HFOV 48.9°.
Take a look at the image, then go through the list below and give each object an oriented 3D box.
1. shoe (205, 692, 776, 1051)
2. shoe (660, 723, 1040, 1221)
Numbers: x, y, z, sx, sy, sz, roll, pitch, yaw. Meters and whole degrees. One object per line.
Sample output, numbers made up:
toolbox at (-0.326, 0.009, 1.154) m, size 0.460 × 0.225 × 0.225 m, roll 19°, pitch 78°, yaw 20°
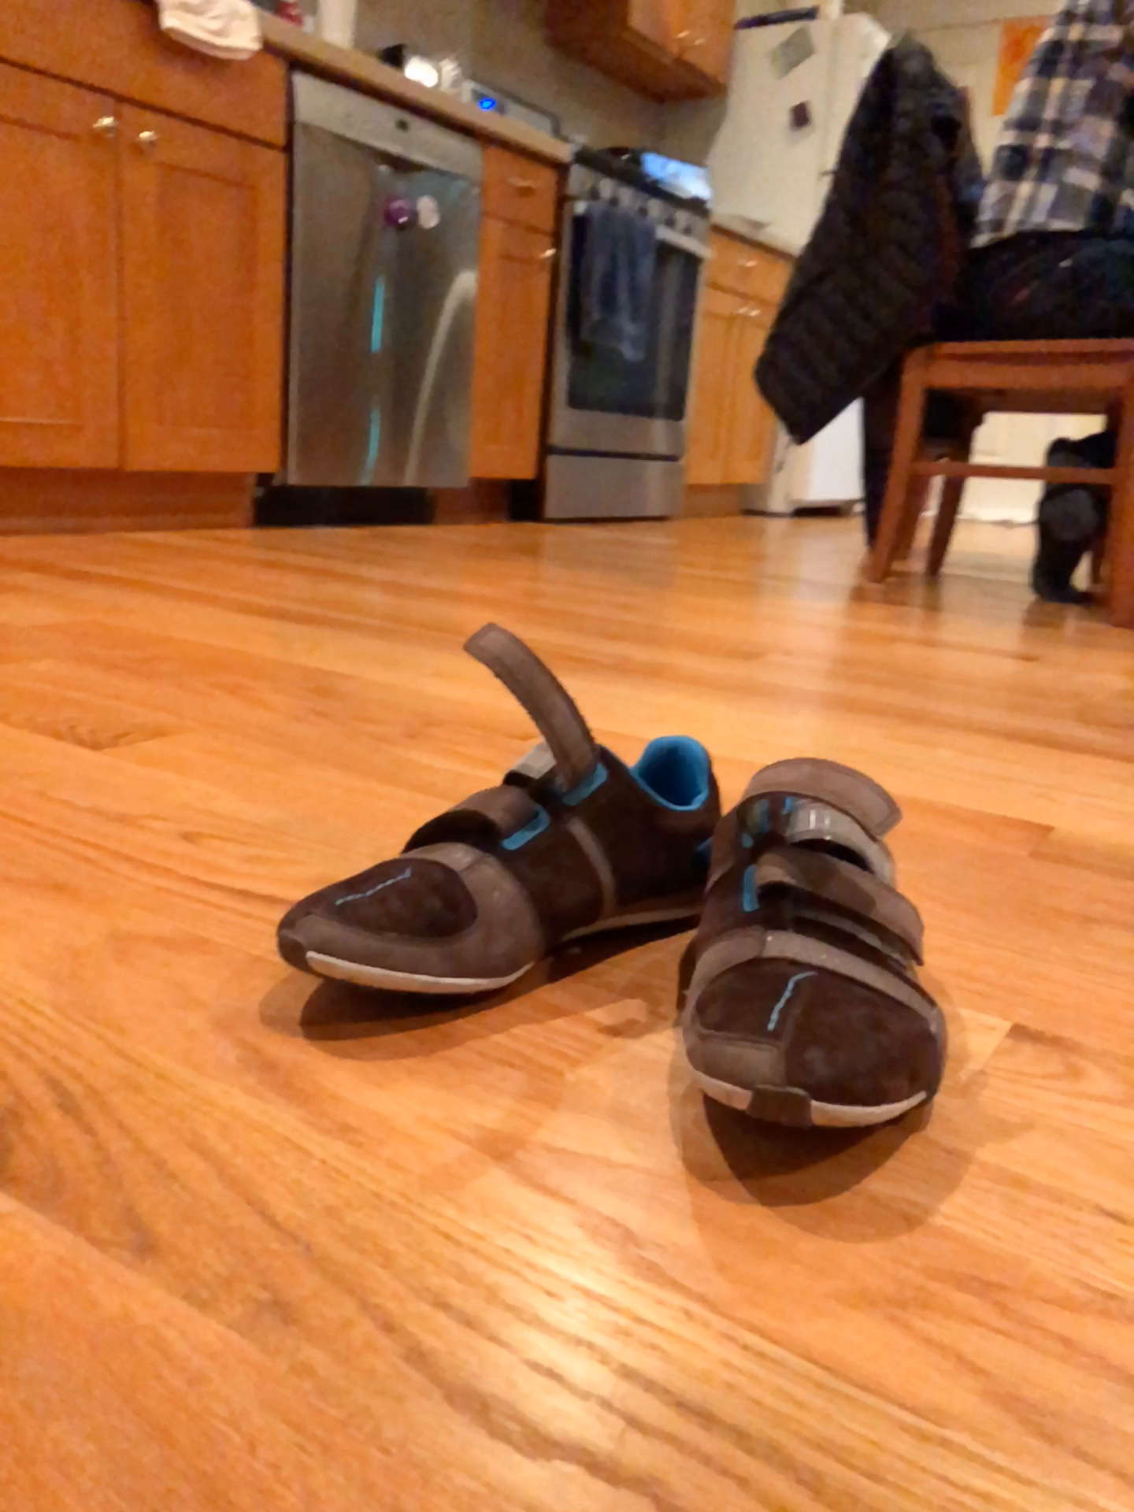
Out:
shoe at (-0.024, 0.037, 0.573) m, size 0.102 × 0.092 × 0.256 m, roll 17°, pitch 19°, yaw 41°
shoe at (0.108, 0.063, 0.501) m, size 0.102 × 0.092 × 0.256 m, roll 7°, pitch 14°, yaw 10°
